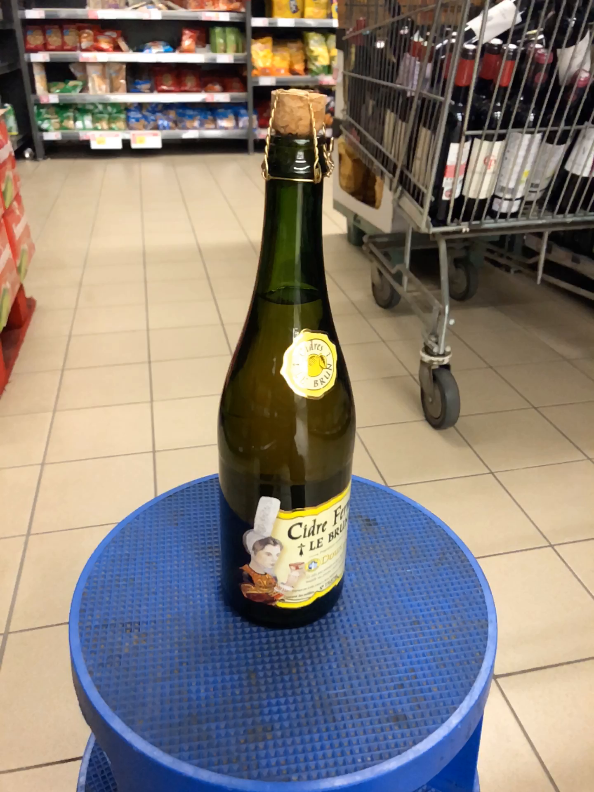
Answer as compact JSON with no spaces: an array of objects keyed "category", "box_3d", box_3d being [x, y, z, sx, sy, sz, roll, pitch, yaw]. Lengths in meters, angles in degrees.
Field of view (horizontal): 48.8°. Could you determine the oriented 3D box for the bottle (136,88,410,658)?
[{"category":"bottle","box_3d":[-0.012,-0.007,0.374,0.090,0.298,0.090,0,28,0]}]
